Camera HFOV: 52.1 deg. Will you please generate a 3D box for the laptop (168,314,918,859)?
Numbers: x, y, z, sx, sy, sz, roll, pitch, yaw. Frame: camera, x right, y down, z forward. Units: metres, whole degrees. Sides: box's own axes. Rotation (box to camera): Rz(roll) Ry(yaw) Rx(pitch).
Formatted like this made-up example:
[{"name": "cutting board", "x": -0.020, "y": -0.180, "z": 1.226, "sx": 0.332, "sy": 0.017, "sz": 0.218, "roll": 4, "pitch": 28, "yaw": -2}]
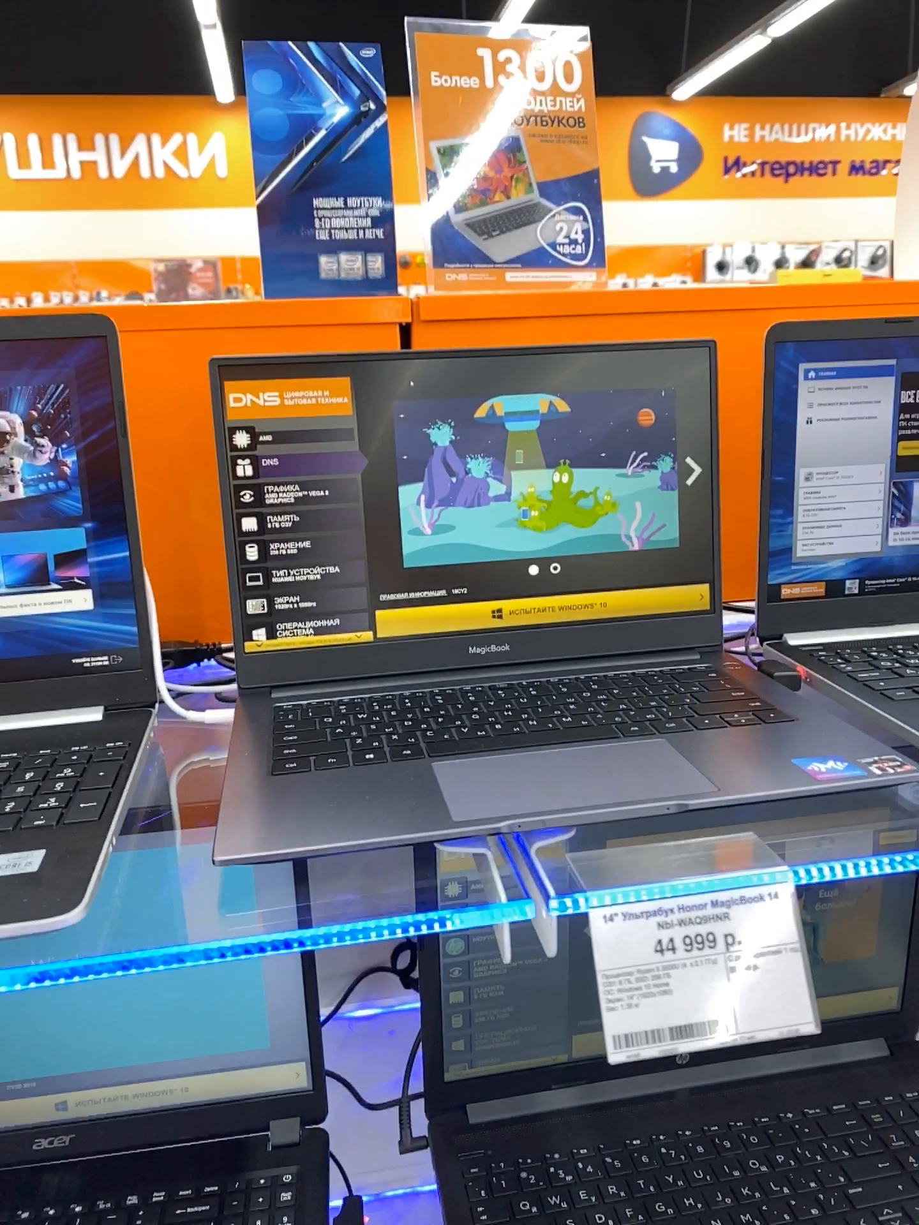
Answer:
[{"name": "laptop", "x": 0.037, "y": -0.039, "z": 0.500, "sx": 0.323, "sy": 0.203, "sz": 0.238, "roll": -4, "pitch": 13, "yaw": -10}]
